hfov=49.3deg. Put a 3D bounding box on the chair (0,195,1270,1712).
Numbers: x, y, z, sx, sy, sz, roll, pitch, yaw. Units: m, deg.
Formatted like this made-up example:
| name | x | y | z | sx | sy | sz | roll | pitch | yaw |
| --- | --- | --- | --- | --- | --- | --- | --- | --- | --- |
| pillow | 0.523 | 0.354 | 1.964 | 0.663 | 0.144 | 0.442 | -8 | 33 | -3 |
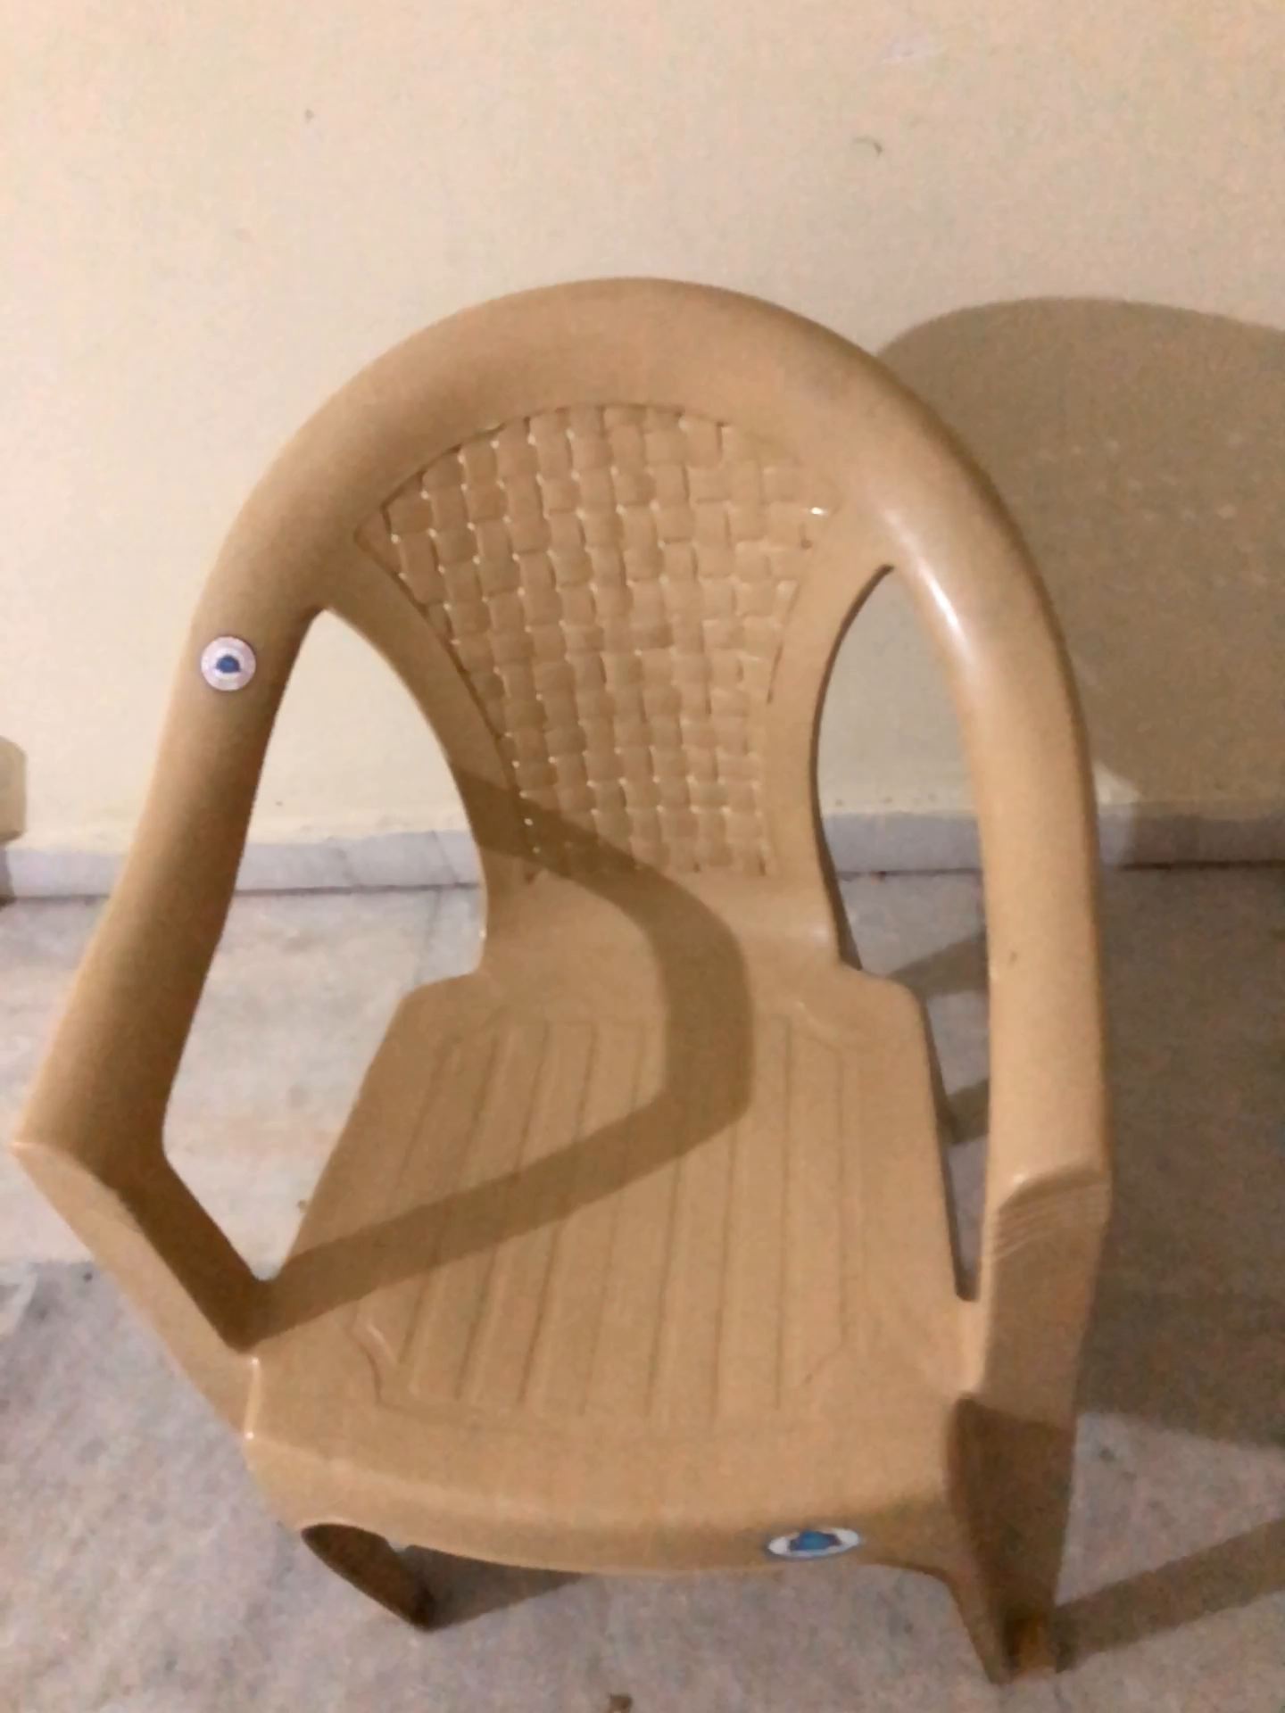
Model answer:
| name | x | y | z | sx | sy | sz | roll | pitch | yaw |
| --- | --- | --- | --- | --- | --- | --- | --- | --- | --- |
| chair | -0.022 | 0.127 | 0.906 | 0.590 | 0.746 | 0.604 | -3 | 50 | 12 |
